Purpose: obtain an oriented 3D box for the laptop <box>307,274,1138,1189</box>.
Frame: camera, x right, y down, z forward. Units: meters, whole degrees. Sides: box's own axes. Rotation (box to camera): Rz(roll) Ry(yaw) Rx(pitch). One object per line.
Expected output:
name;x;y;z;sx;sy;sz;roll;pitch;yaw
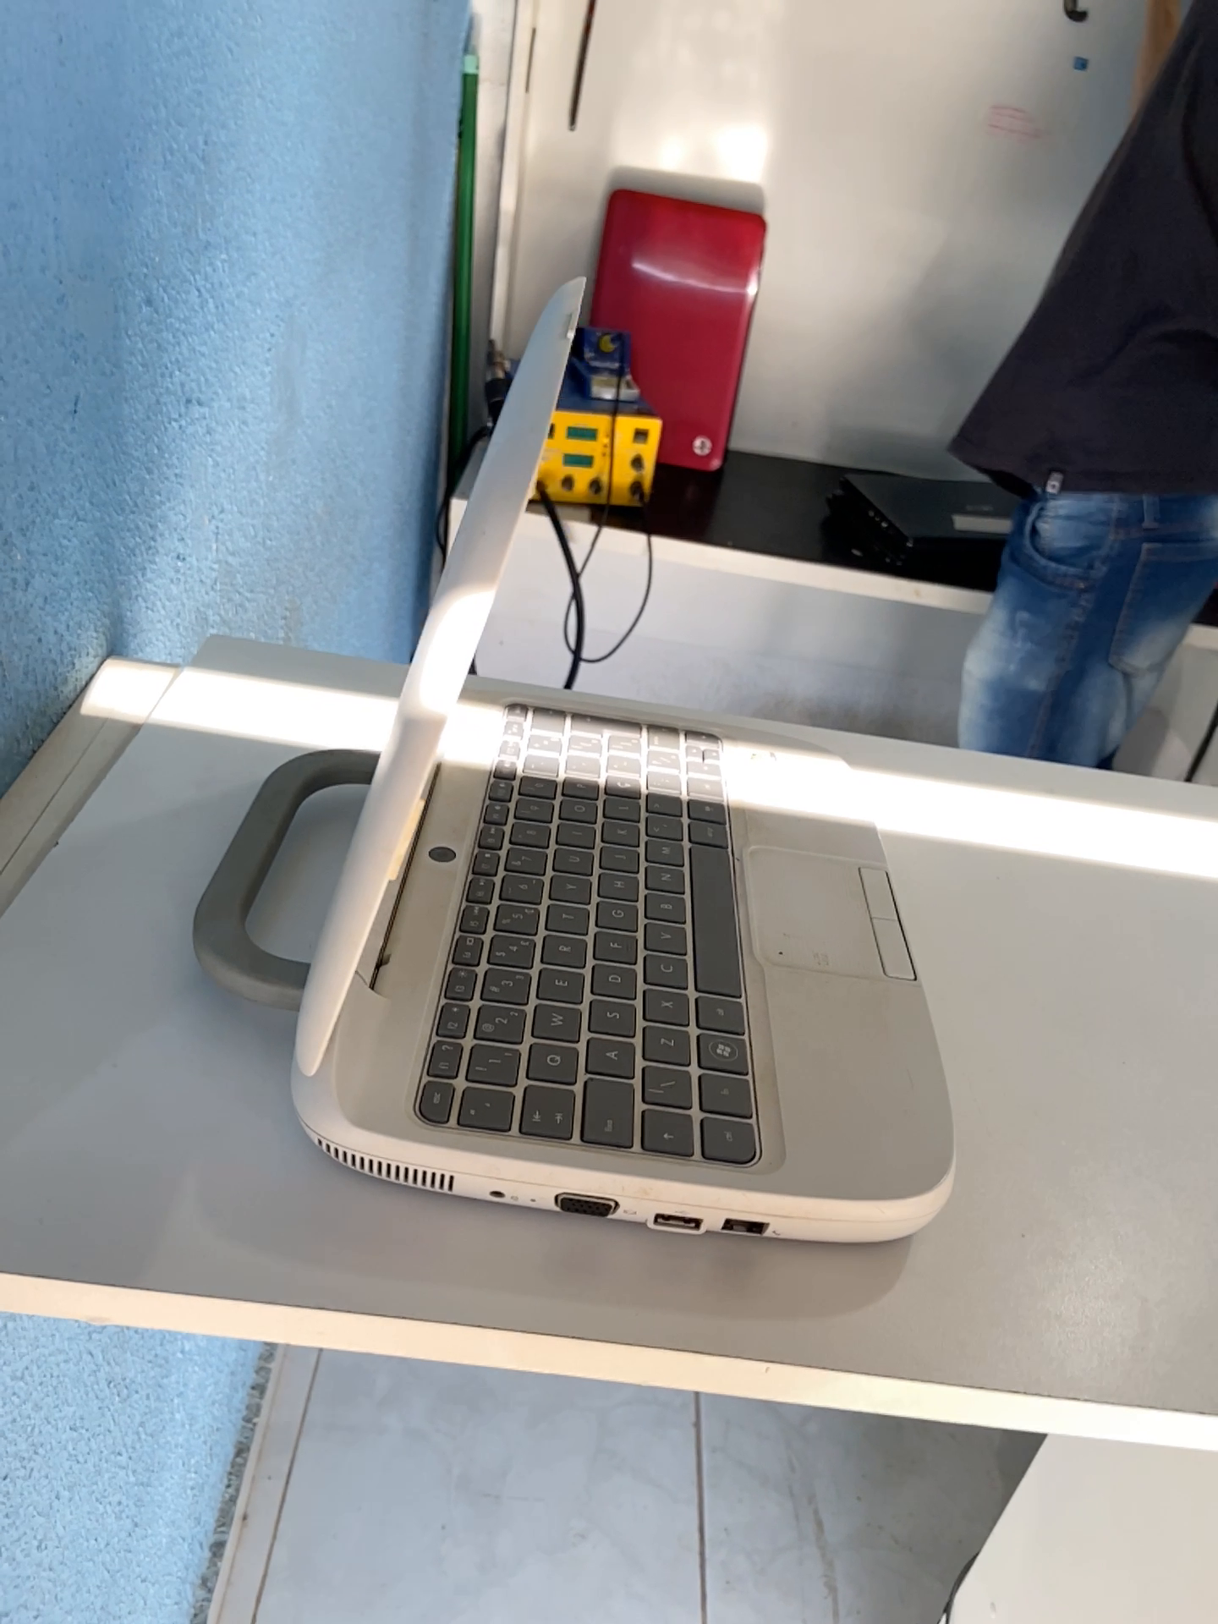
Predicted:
laptop;0.021;-0.045;0.413;0.177;0.172;0.249;9;33;-4
